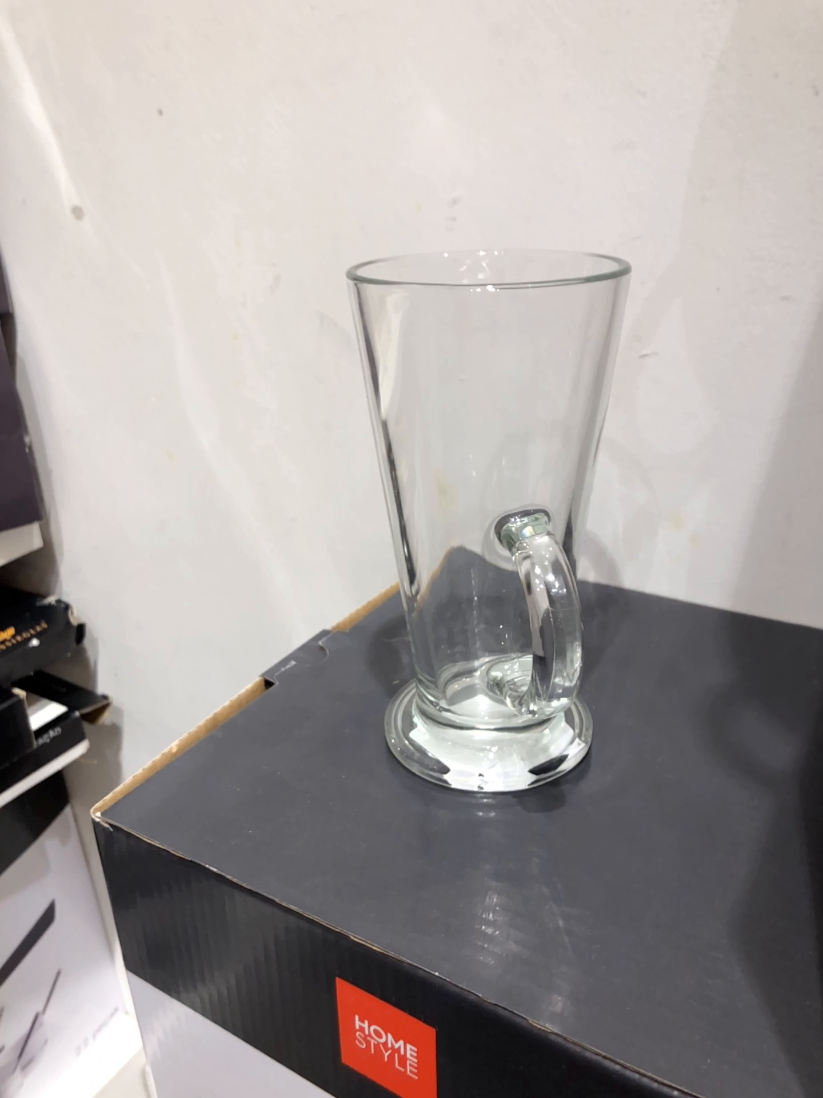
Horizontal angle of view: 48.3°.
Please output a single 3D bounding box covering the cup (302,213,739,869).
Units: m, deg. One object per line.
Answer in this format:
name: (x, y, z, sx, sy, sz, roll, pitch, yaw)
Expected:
cup: (0.024, -0.009, 0.258, 0.080, 0.149, 0.091, -10, 25, -13)
